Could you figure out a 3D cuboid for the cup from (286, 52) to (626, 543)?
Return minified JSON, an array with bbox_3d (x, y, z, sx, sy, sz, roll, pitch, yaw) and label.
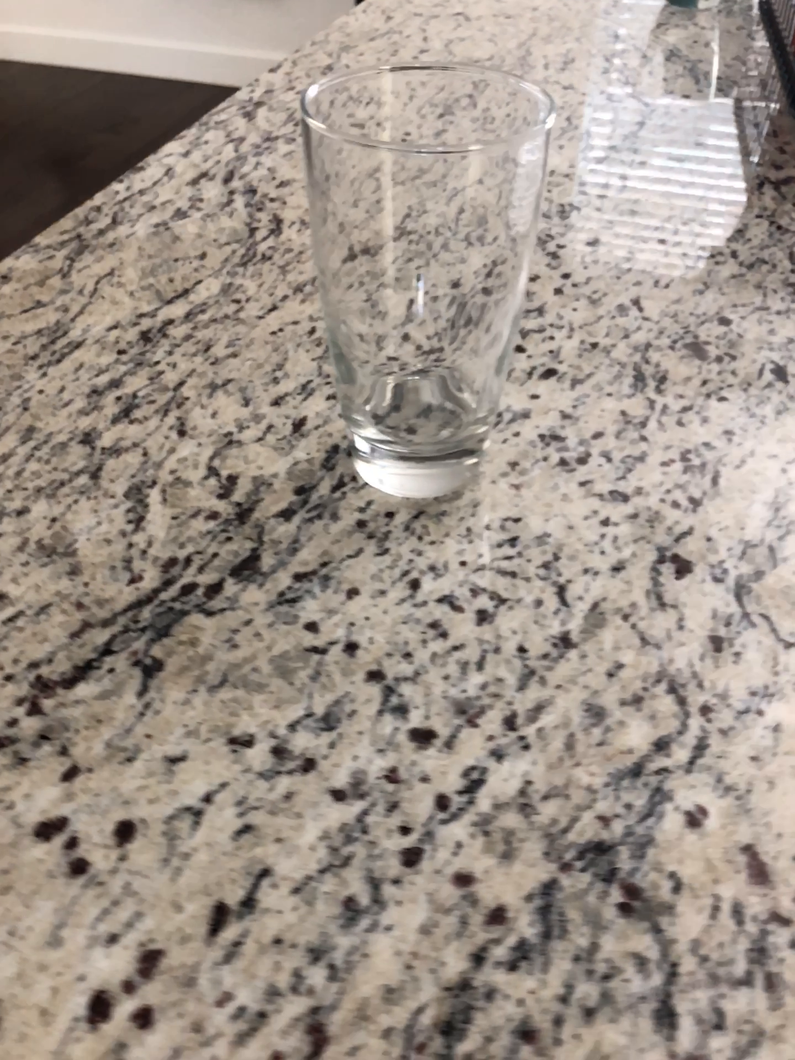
[{"bbox_3d":[0.014,-0.084,0.326,0.080,0.139,0.091,-12,44,-13],"label":"cup"}]
